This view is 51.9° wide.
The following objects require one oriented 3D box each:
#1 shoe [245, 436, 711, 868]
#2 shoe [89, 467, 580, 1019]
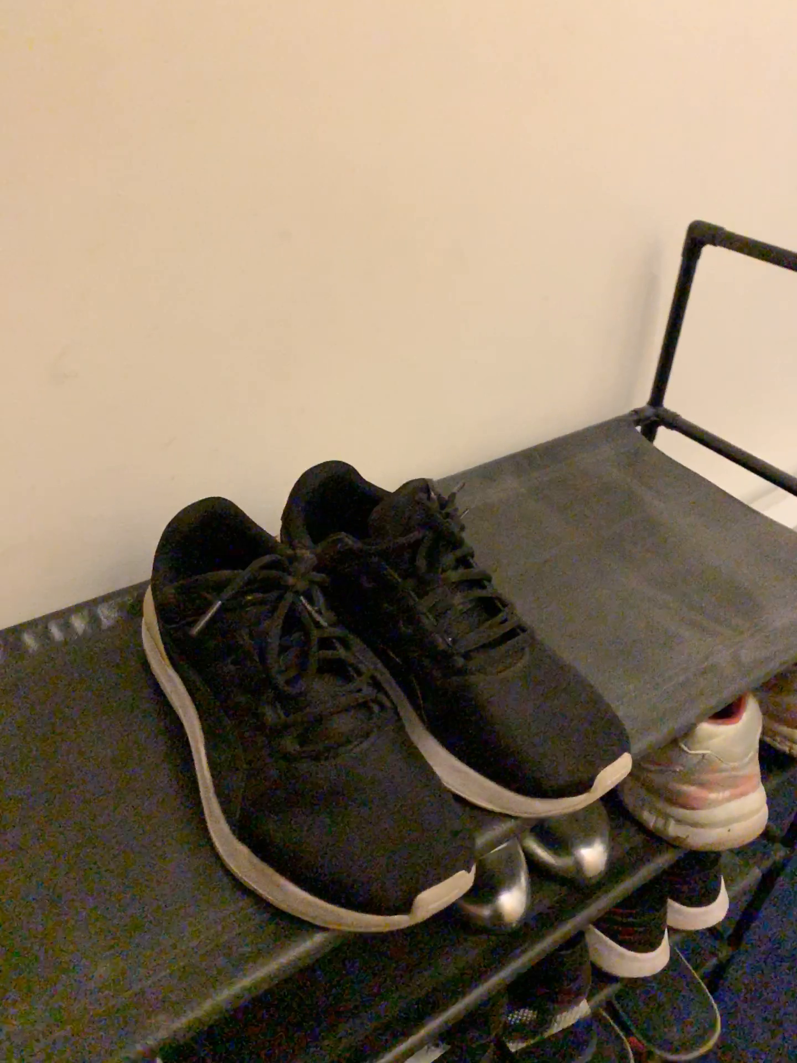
[{"bbox_3d":[0.025,0.043,0.463,0.110,0.069,0.261,-21,41,-29],"label":"shoe"},{"bbox_3d":[-0.046,0.074,0.394,0.110,0.089,0.241,-21,41,-29],"label":"shoe"}]
